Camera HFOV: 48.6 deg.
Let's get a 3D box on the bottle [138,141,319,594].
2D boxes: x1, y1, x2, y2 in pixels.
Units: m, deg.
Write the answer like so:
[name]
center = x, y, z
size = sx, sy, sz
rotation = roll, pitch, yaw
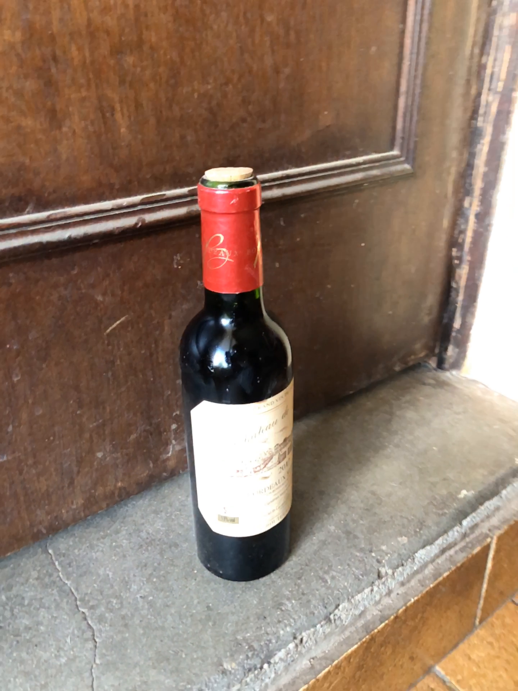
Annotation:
[bottle]
center = -0.010, 0.019, 0.317
size = 0.060, 0.239, 0.070
rotation = 9, 29, 18
